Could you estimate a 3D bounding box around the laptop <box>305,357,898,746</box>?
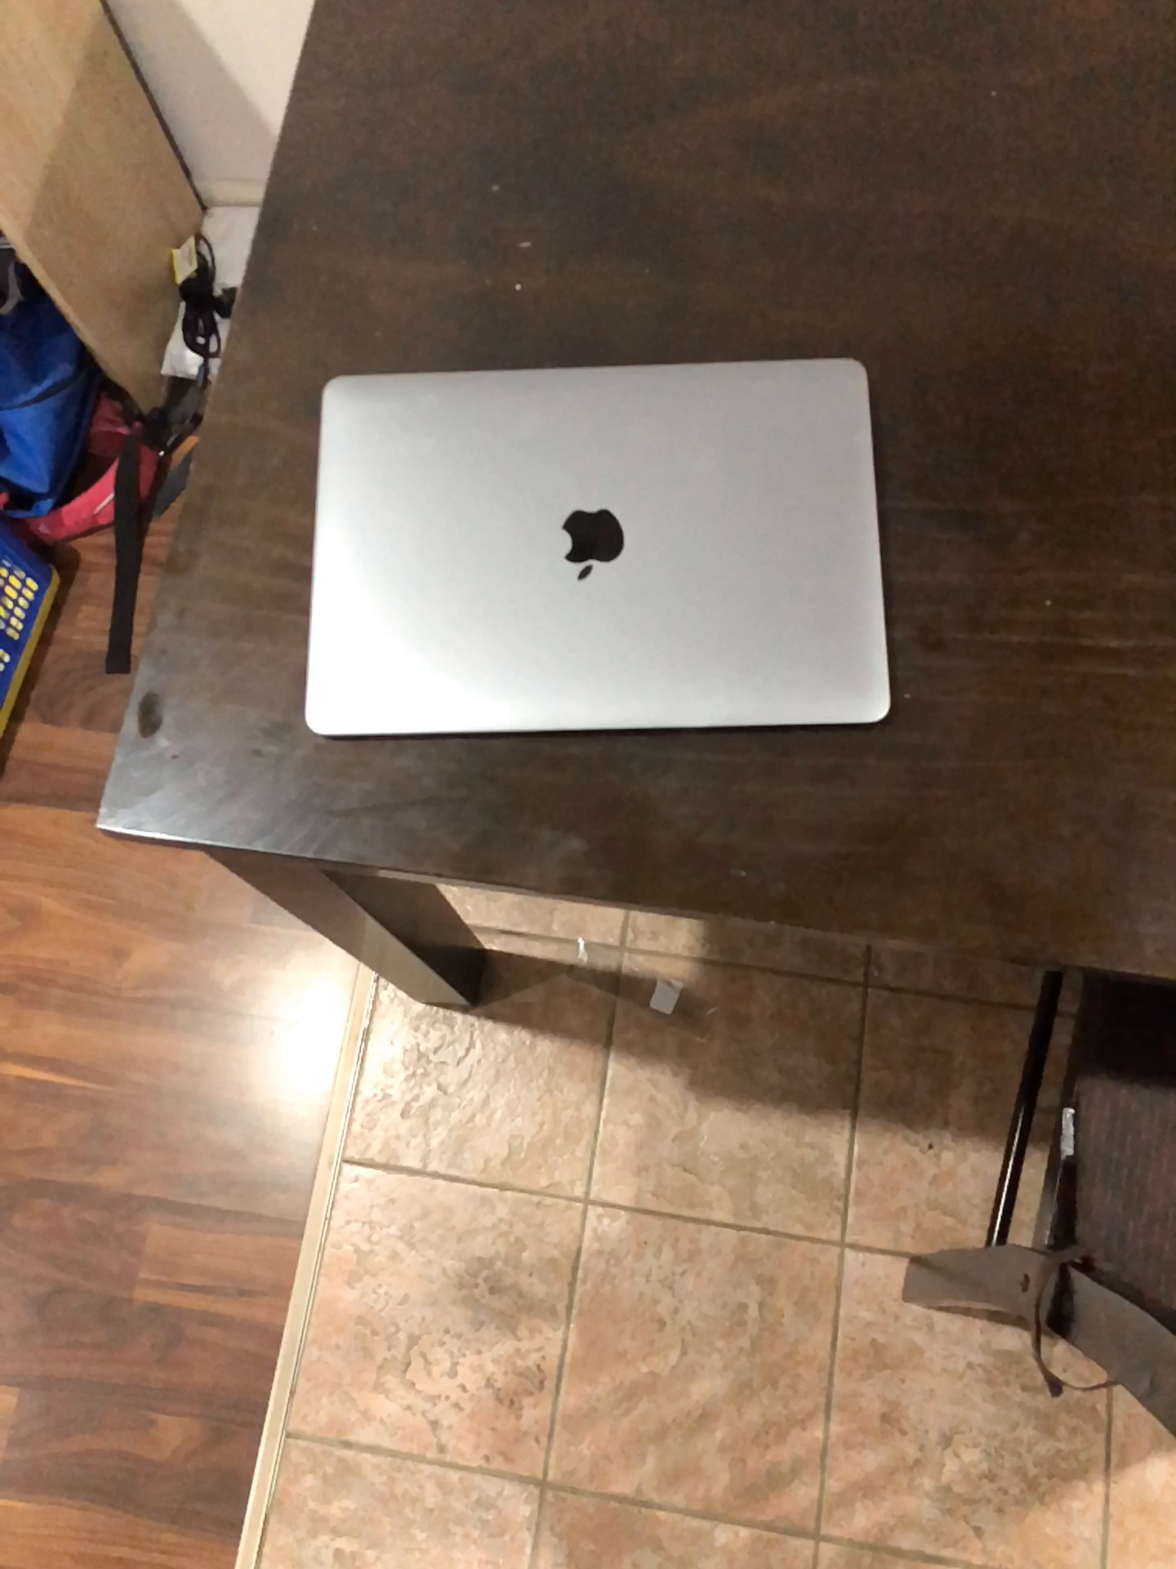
[{"bbox_3d":[0.005,-0.118,0.625,0.275,0.002,0.196,-2,73,0],"label":"laptop"}]
